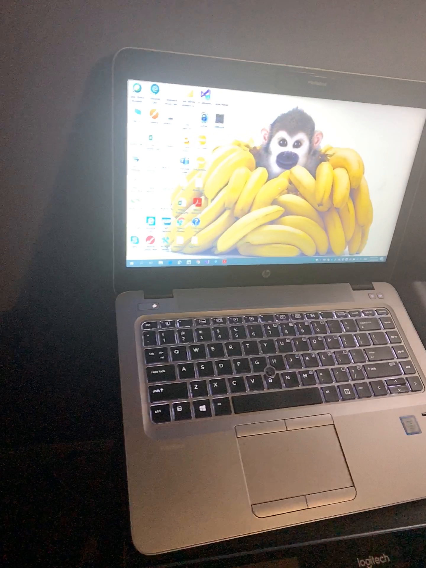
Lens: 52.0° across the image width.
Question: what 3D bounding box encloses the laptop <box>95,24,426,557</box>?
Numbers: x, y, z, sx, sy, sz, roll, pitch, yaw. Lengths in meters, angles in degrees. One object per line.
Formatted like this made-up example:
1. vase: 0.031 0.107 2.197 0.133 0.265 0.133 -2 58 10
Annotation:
1. laptop: 0.072 -0.014 0.367 0.318 0.191 0.327 -2 54 -16
